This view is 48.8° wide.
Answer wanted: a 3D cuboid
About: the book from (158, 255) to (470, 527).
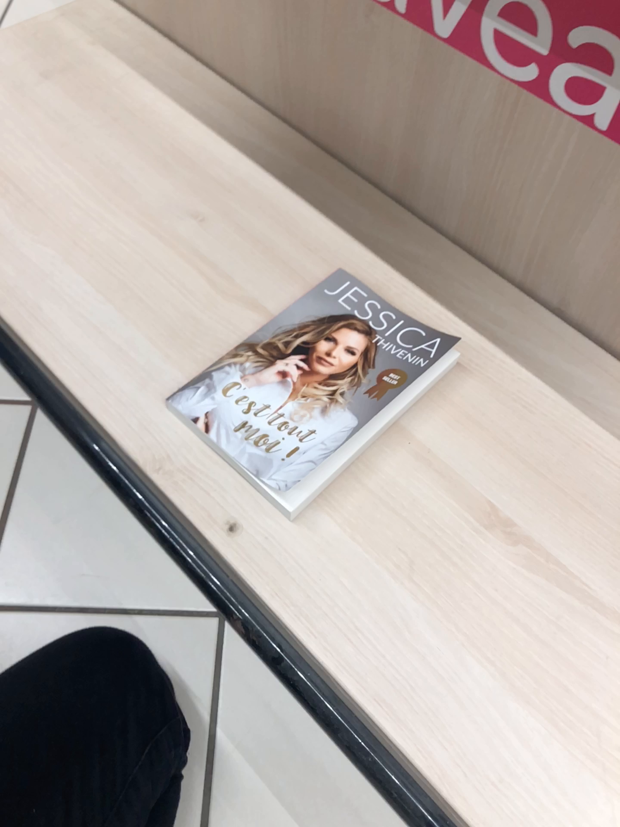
[{"bbox_3d":[0.007,-0.030,0.559,0.146,0.020,0.213,40,64,19],"label":"book"}]
